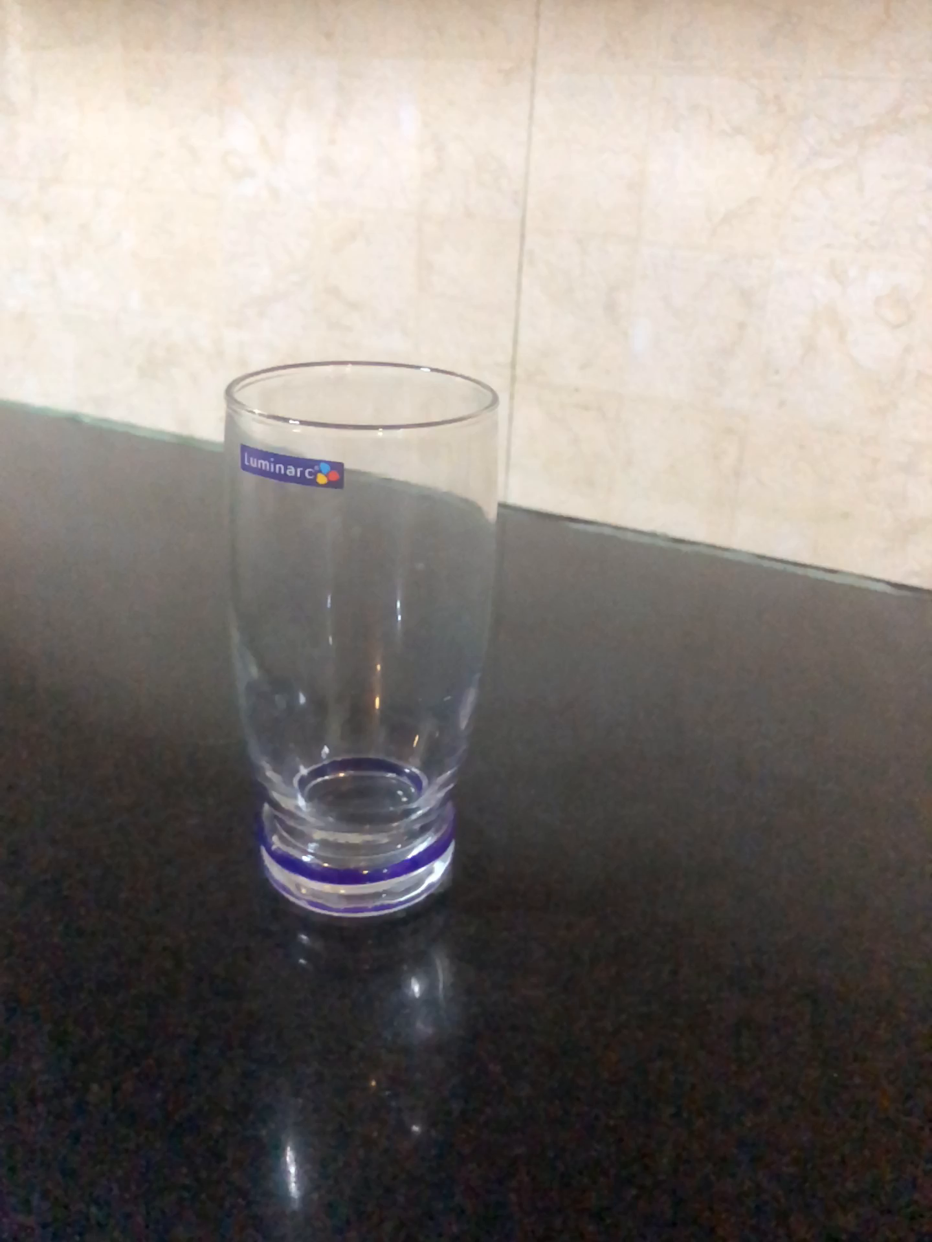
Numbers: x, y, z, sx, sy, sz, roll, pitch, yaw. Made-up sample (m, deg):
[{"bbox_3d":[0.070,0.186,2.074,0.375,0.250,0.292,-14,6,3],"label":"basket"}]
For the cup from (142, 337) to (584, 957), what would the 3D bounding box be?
[{"bbox_3d":[-0.023,0.001,0.274,0.080,0.129,0.080,3,24,-1],"label":"cup"}]
